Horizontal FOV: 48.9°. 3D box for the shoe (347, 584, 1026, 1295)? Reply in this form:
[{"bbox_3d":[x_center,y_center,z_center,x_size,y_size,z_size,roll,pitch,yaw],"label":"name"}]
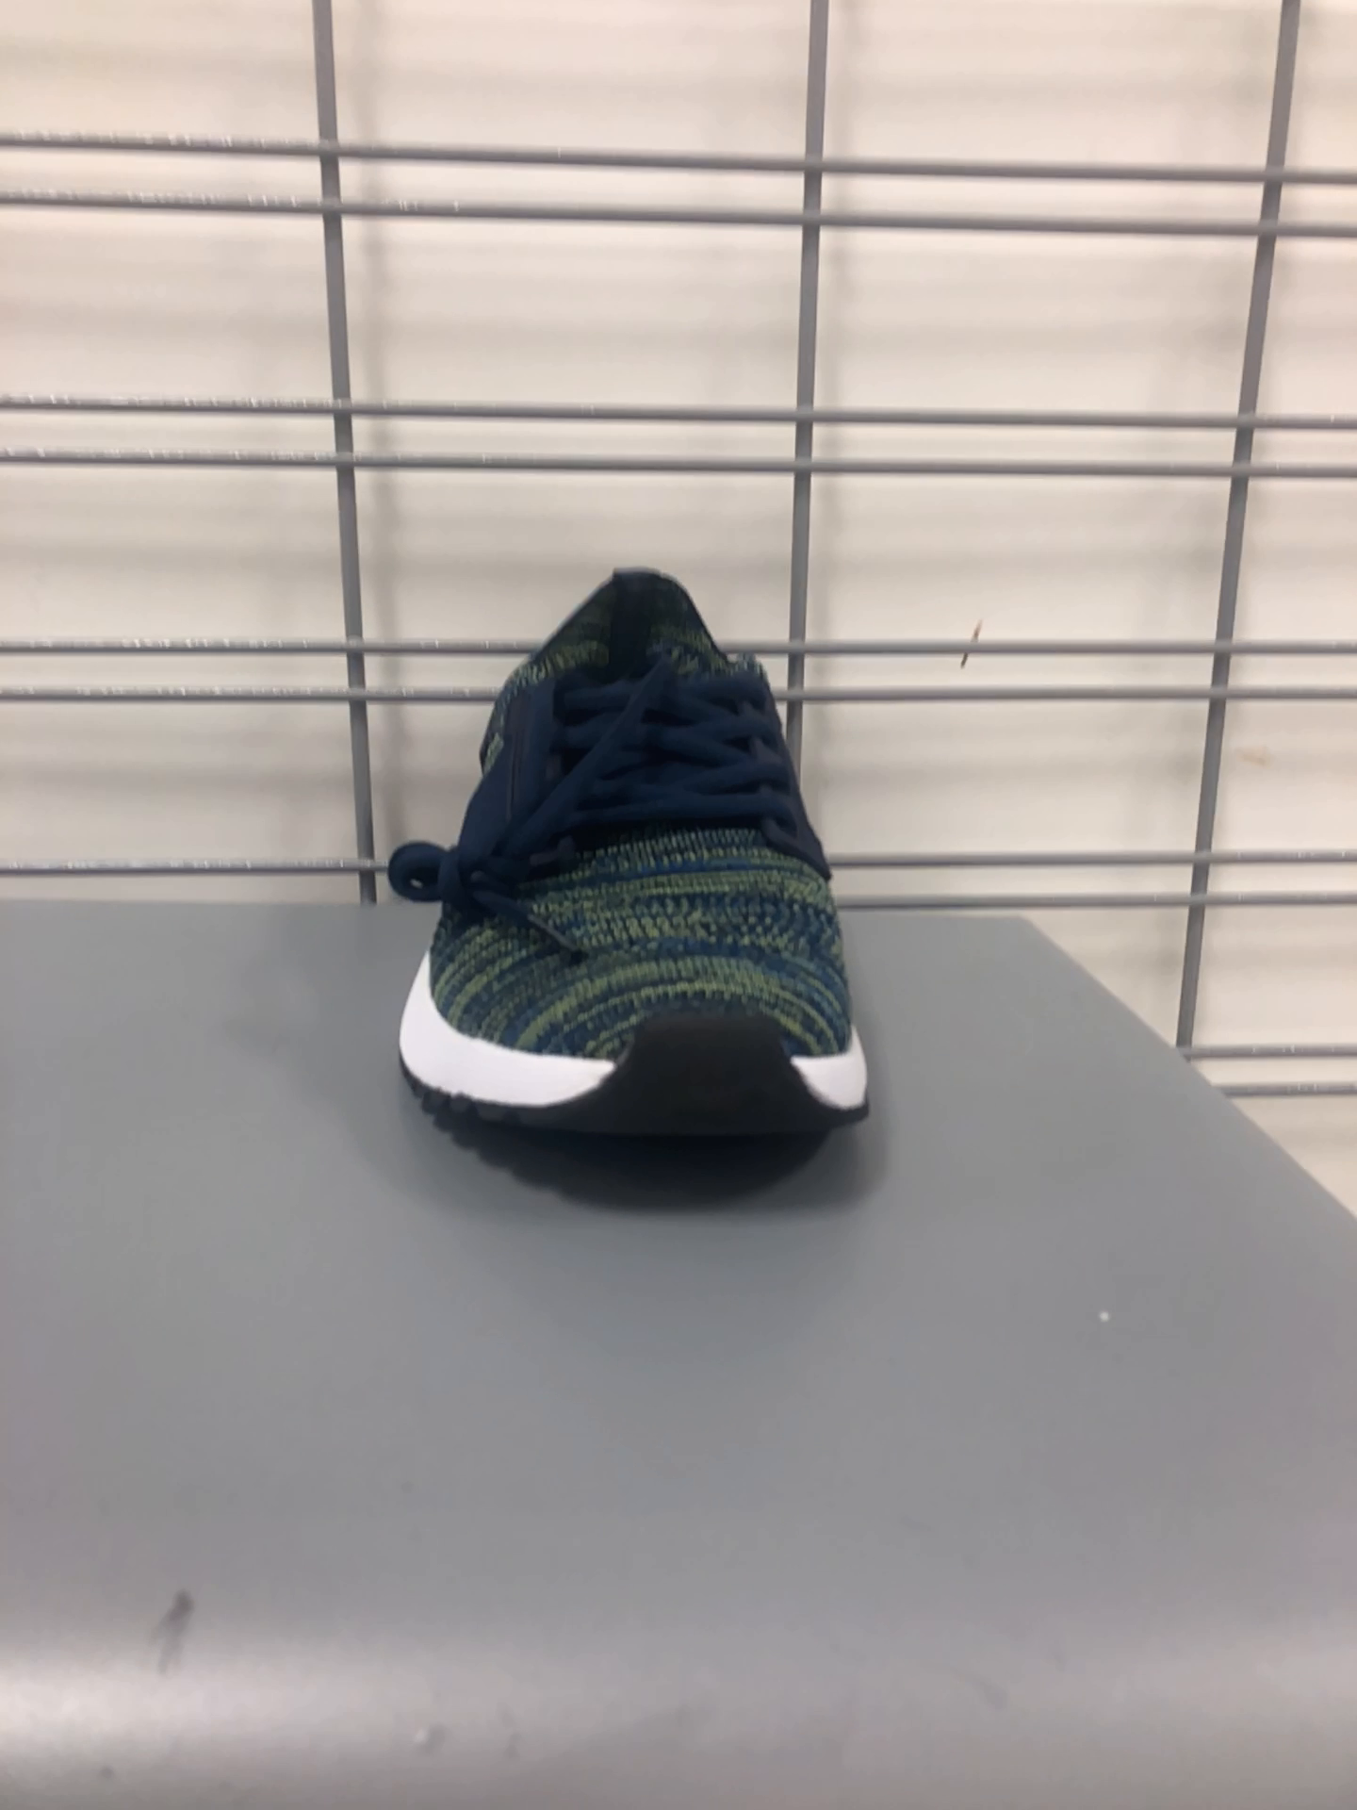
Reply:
[{"bbox_3d":[-0.014,-0.018,0.392,0.113,0.105,0.277,1,16,-7],"label":"shoe"}]
